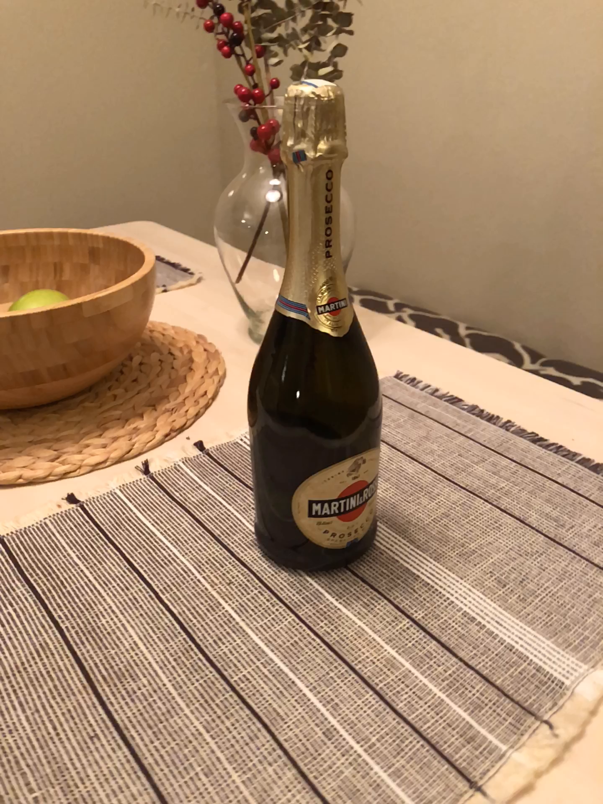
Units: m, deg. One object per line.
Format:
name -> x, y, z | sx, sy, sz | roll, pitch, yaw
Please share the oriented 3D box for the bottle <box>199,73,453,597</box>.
bottle -> 0.012, -0.039, 0.432 | 0.100, 0.308, 0.100 | -1, 28, 0
